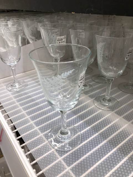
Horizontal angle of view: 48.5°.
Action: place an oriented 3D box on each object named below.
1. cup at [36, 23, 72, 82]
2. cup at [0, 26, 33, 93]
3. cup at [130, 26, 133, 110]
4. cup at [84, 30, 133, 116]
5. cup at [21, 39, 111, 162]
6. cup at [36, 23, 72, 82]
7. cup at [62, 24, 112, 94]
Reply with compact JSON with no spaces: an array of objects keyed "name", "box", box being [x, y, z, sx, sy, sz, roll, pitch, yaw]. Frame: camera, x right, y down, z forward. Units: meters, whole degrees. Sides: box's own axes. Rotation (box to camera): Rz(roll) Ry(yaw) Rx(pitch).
[{"name":"cup","box":[-0.031,-0.105,0.425,0.069,0.146,0.066,-1,30,1]},{"name":"cup","box":[-0.136,-0.075,0.387,0.069,0.156,0.067,-1,30,1]},{"name":"cup","box":[0.211,-0.049,0.305,0.086,0.136,0.090,-1,30,1]},{"name":"cup","box":[0.104,-0.039,0.327,0.089,0.155,0.087,-1,30,1]},{"name":"cup","box":[-0.003,0.013,0.237,0.086,0.156,0.090,-1,30,1]},{"name":"cup","box":[-0.031,-0.105,0.425,0.069,0.146,0.066,-1,30,1]},{"name":"cup","box":[0.048,-0.079,0.376,0.080,0.146,0.086,-1,30,1]}]
